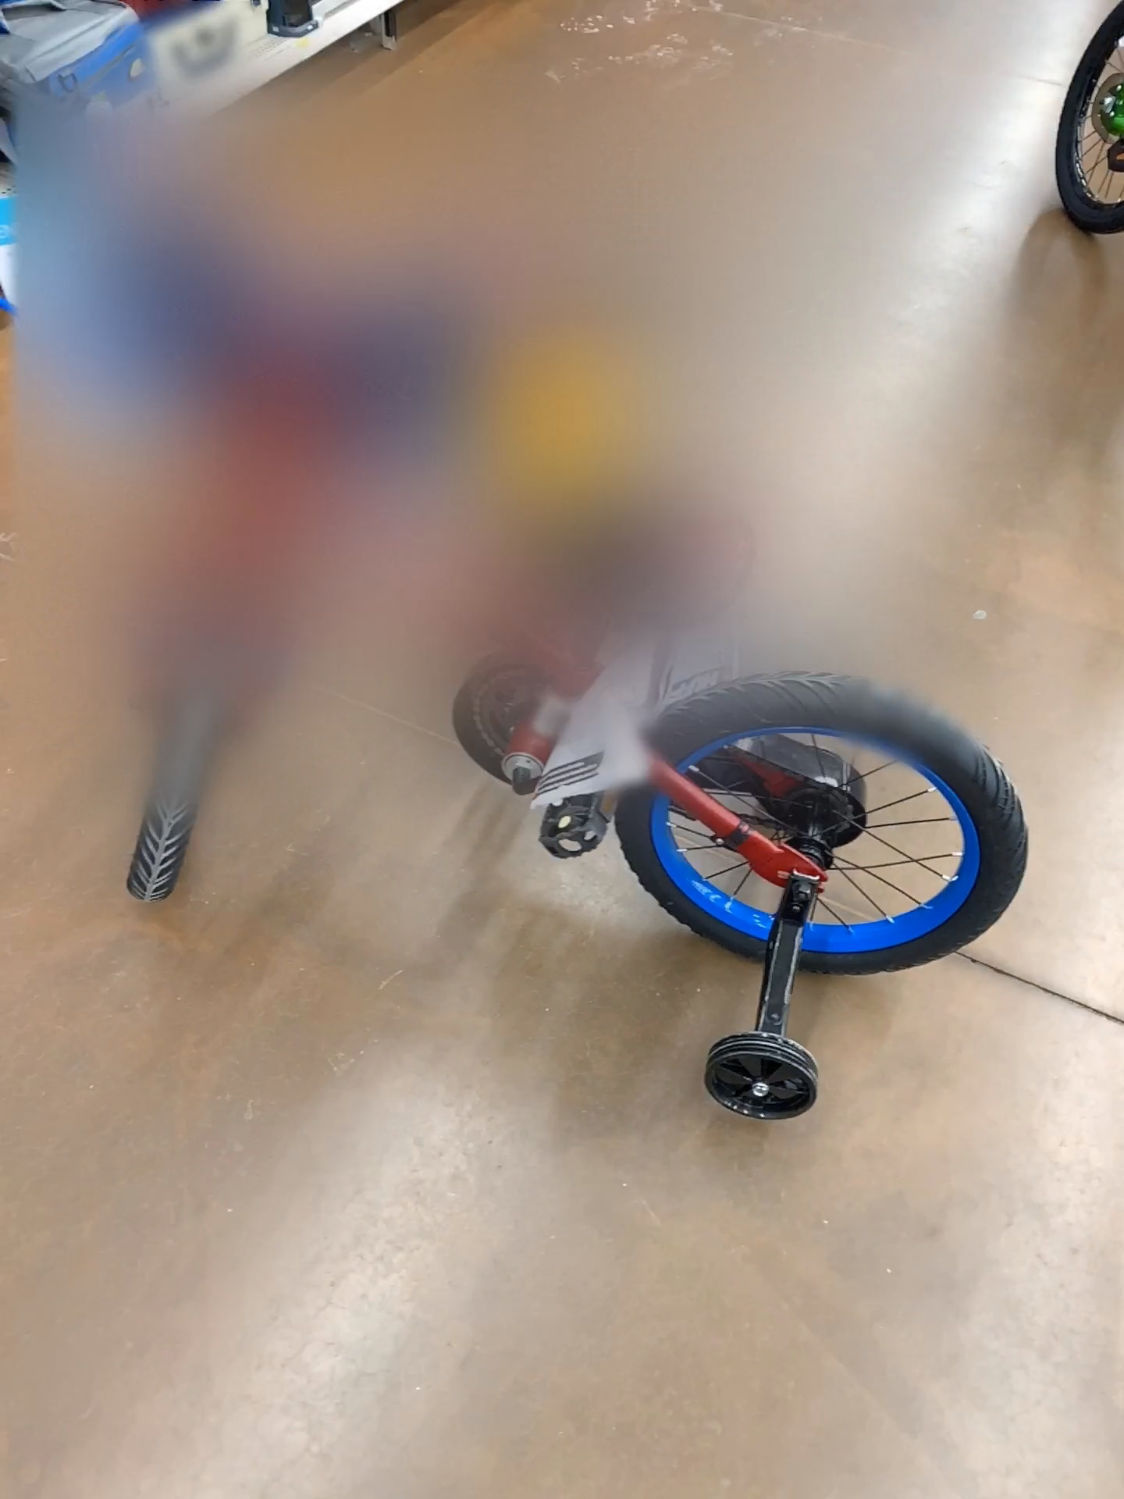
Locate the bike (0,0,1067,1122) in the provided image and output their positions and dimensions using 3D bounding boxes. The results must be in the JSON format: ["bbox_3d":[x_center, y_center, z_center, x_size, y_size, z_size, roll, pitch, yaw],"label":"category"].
[{"bbox_3d":[-0.056,-0.099,0.837,0.565,0.709,0.477,5,50,2],"label":"bike"}]
